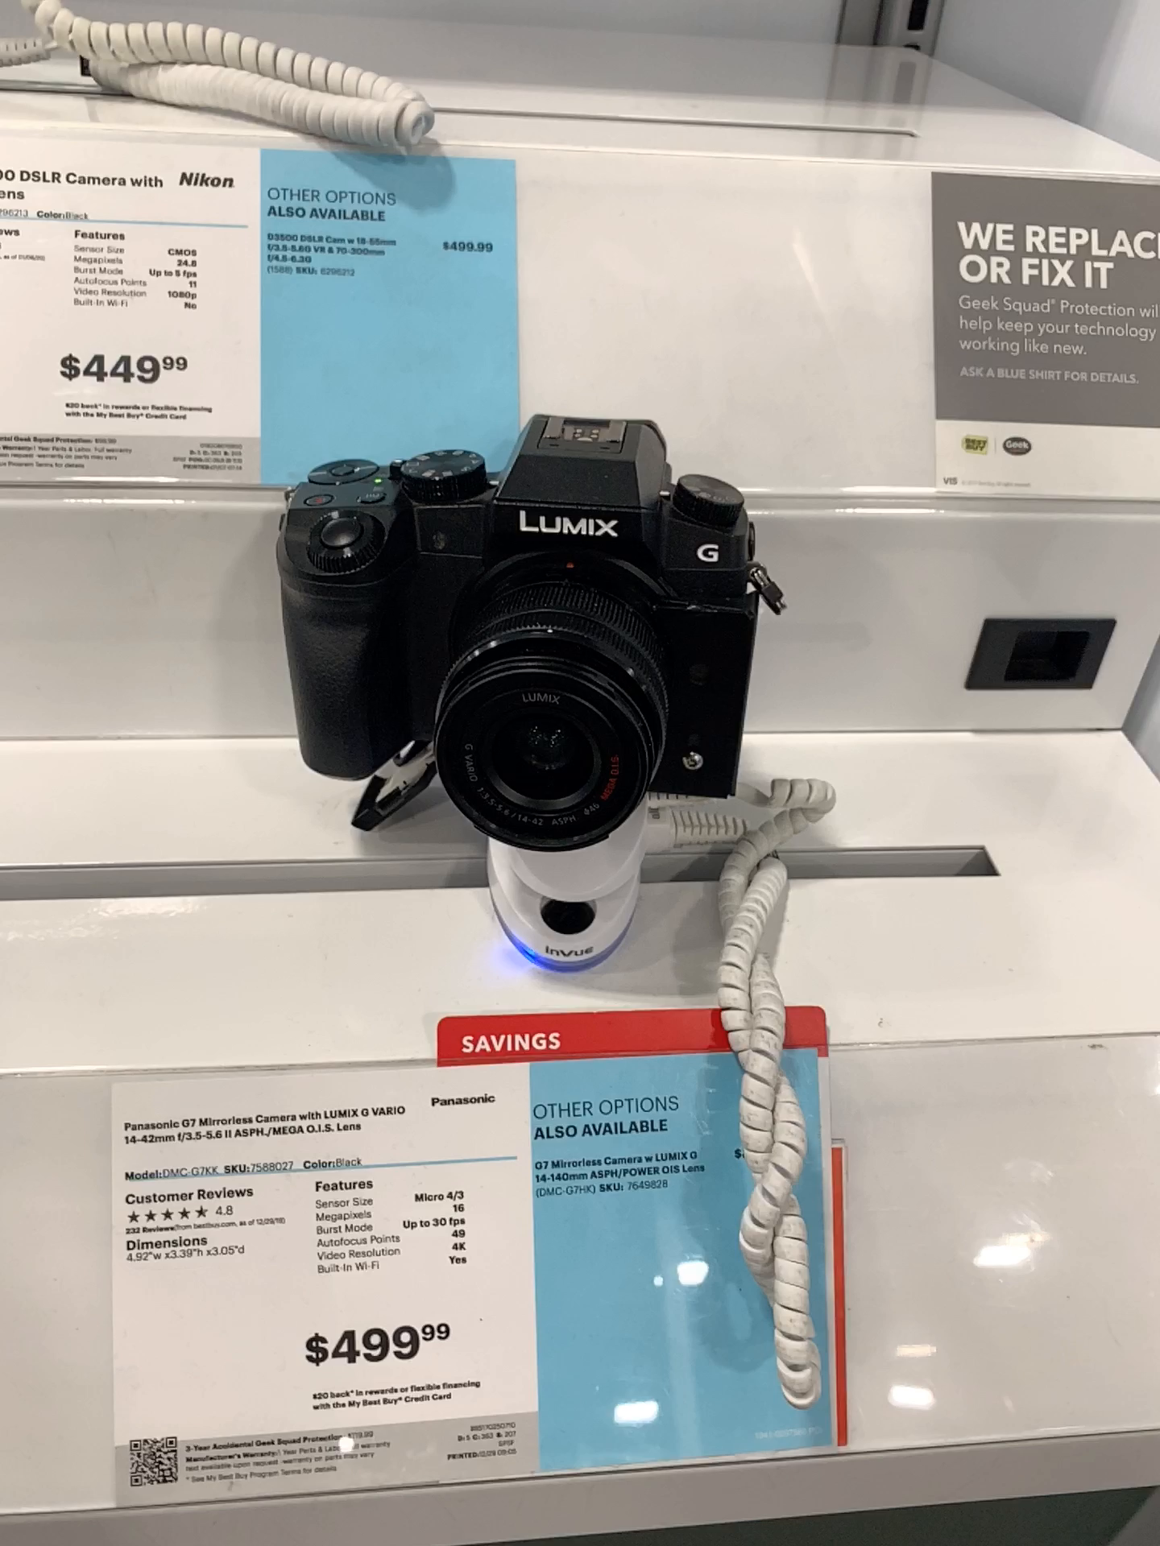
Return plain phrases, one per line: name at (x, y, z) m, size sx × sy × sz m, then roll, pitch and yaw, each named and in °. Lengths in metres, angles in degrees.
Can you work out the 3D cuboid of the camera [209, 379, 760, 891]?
camera at (-0.017, -0.042, 0.325) m, size 0.118 × 0.080 × 0.115 m, roll 5°, pitch 38°, yaw 3°
